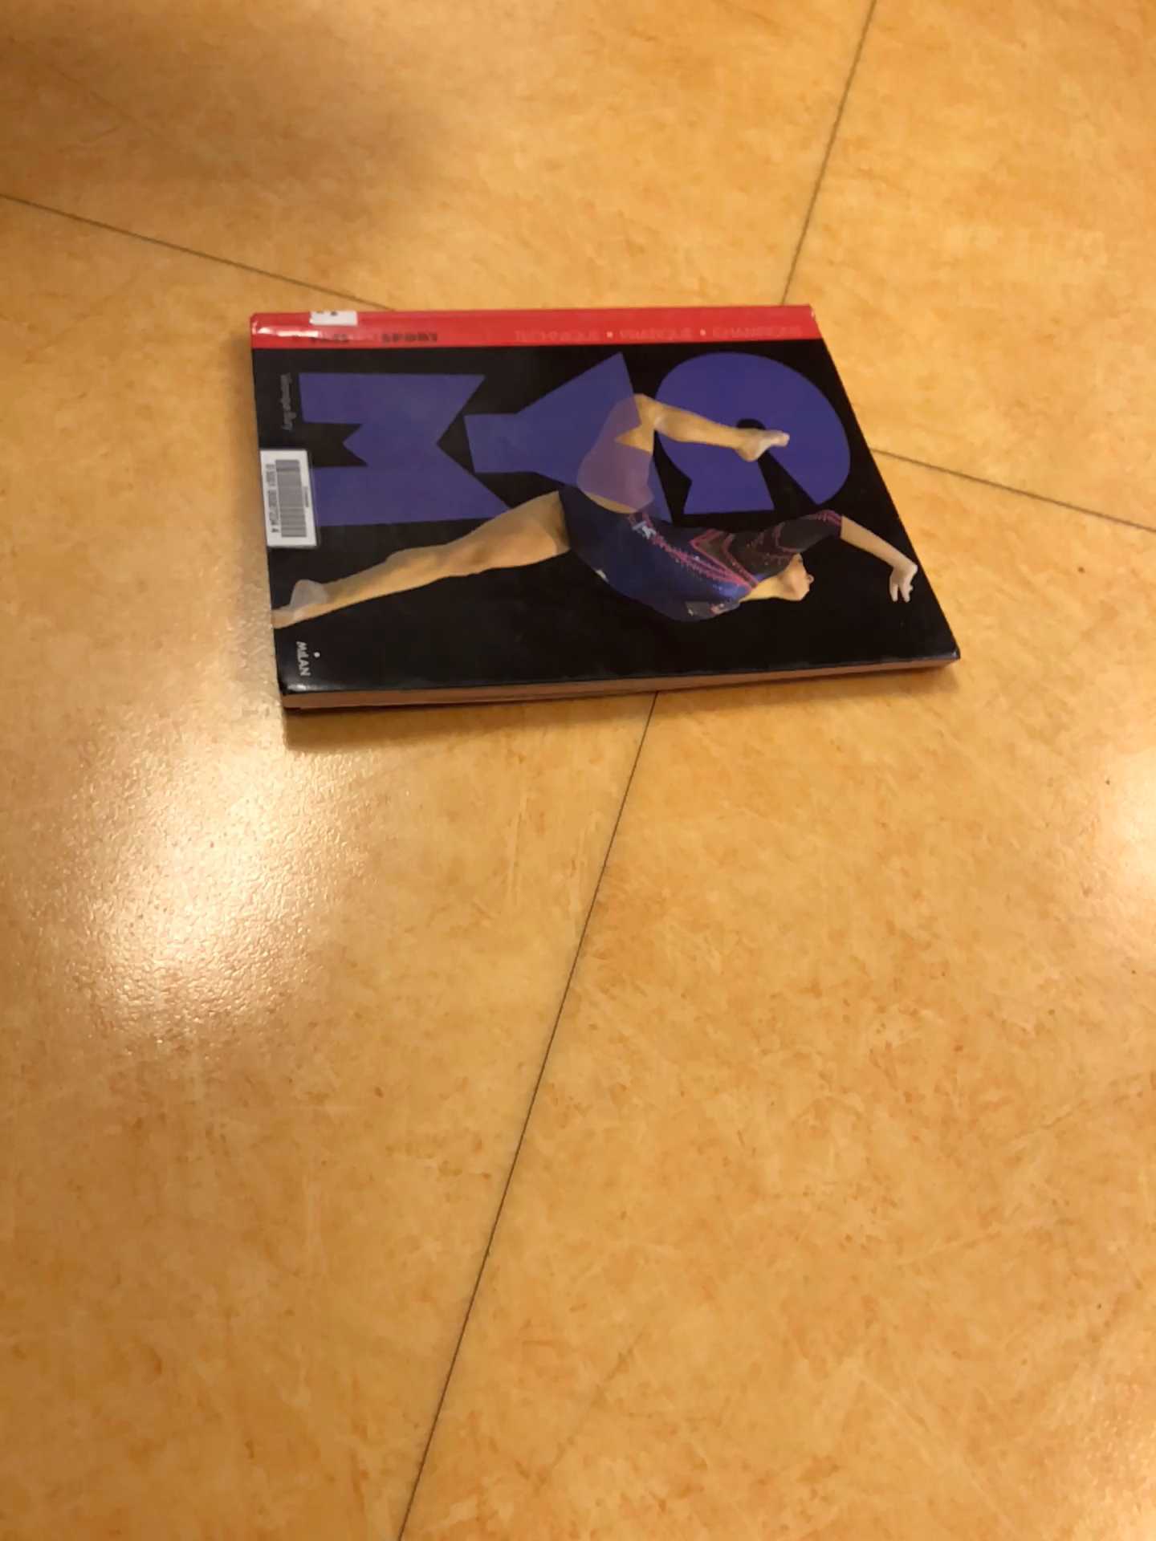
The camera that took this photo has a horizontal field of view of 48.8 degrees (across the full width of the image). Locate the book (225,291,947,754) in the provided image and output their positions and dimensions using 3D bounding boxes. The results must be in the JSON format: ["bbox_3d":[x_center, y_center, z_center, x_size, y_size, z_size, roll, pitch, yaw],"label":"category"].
[{"bbox_3d":[-0.006,-0.104,0.478,0.234,0.030,0.194,-5,58,-12],"label":"book"}]
